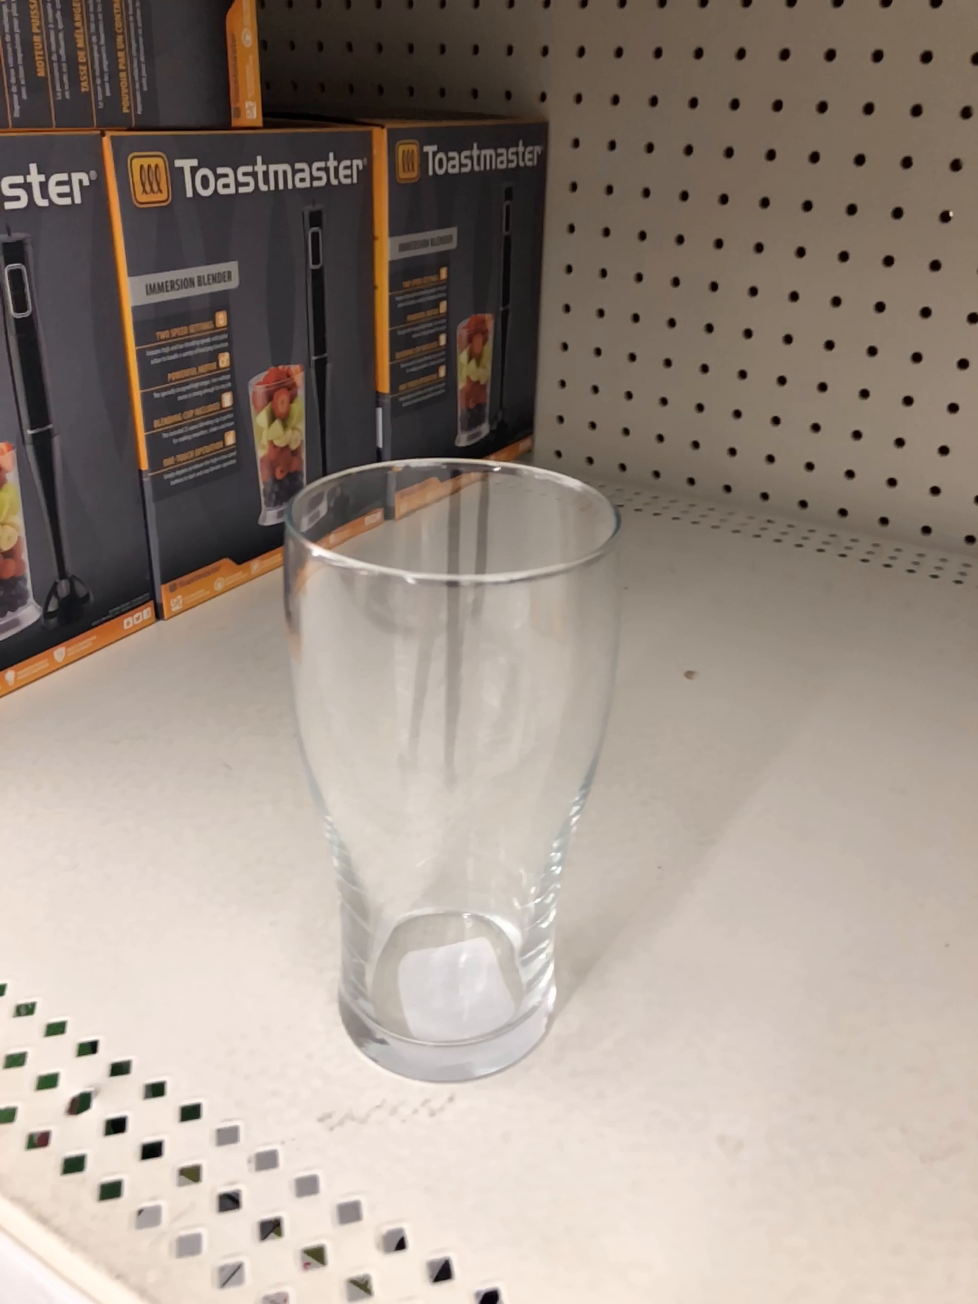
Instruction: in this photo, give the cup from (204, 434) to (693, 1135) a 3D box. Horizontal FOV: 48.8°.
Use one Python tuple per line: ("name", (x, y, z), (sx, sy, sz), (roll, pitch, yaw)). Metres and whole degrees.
("cup", (-0.010, 0.028, 0.276), (0.077, 0.138, 0.081), (1, 27, -1))
